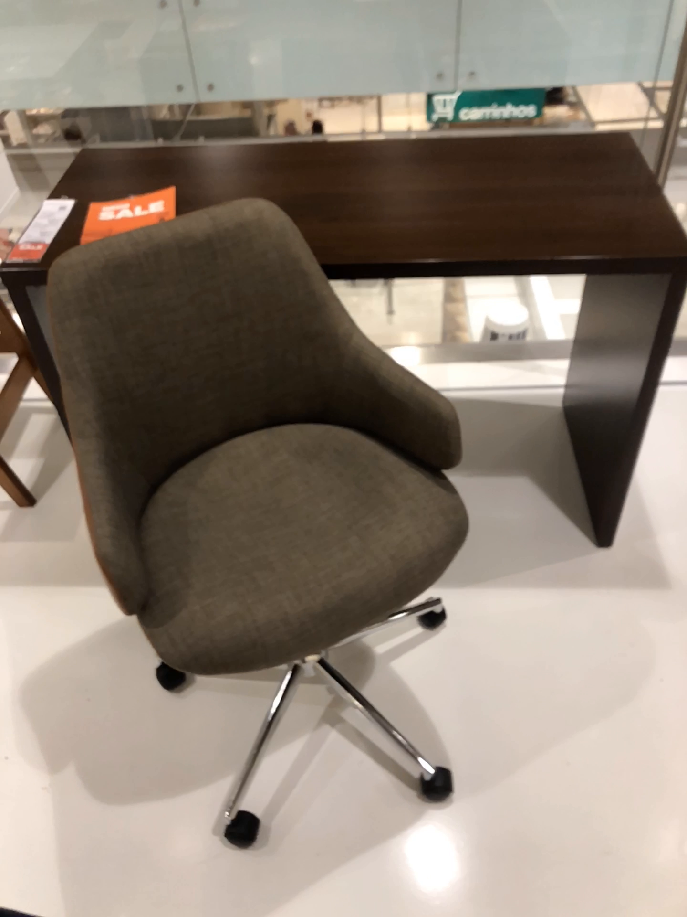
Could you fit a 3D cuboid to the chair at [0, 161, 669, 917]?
[{"bbox_3d":[-0.063,0.142,1.254,0.611,0.883,0.704,-24,47,-20],"label":"chair"}]
